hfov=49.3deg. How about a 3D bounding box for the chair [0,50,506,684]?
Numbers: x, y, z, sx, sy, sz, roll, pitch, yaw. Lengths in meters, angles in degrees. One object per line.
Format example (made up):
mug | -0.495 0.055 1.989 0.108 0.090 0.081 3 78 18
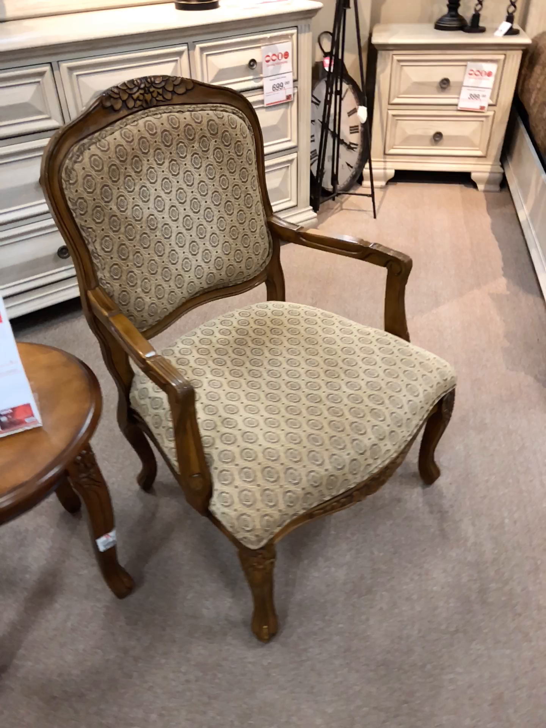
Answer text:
chair | -0.089 -0.043 1.397 0.783 1.062 0.703 -31 46 -33
